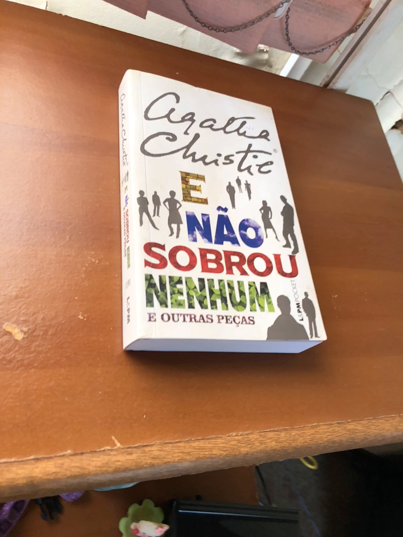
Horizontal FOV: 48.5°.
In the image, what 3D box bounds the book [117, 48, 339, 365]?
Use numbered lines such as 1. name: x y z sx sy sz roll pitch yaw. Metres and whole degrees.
1. book: 0.008 -0.039 0.261 0.110 0.024 0.186 6 63 -22
